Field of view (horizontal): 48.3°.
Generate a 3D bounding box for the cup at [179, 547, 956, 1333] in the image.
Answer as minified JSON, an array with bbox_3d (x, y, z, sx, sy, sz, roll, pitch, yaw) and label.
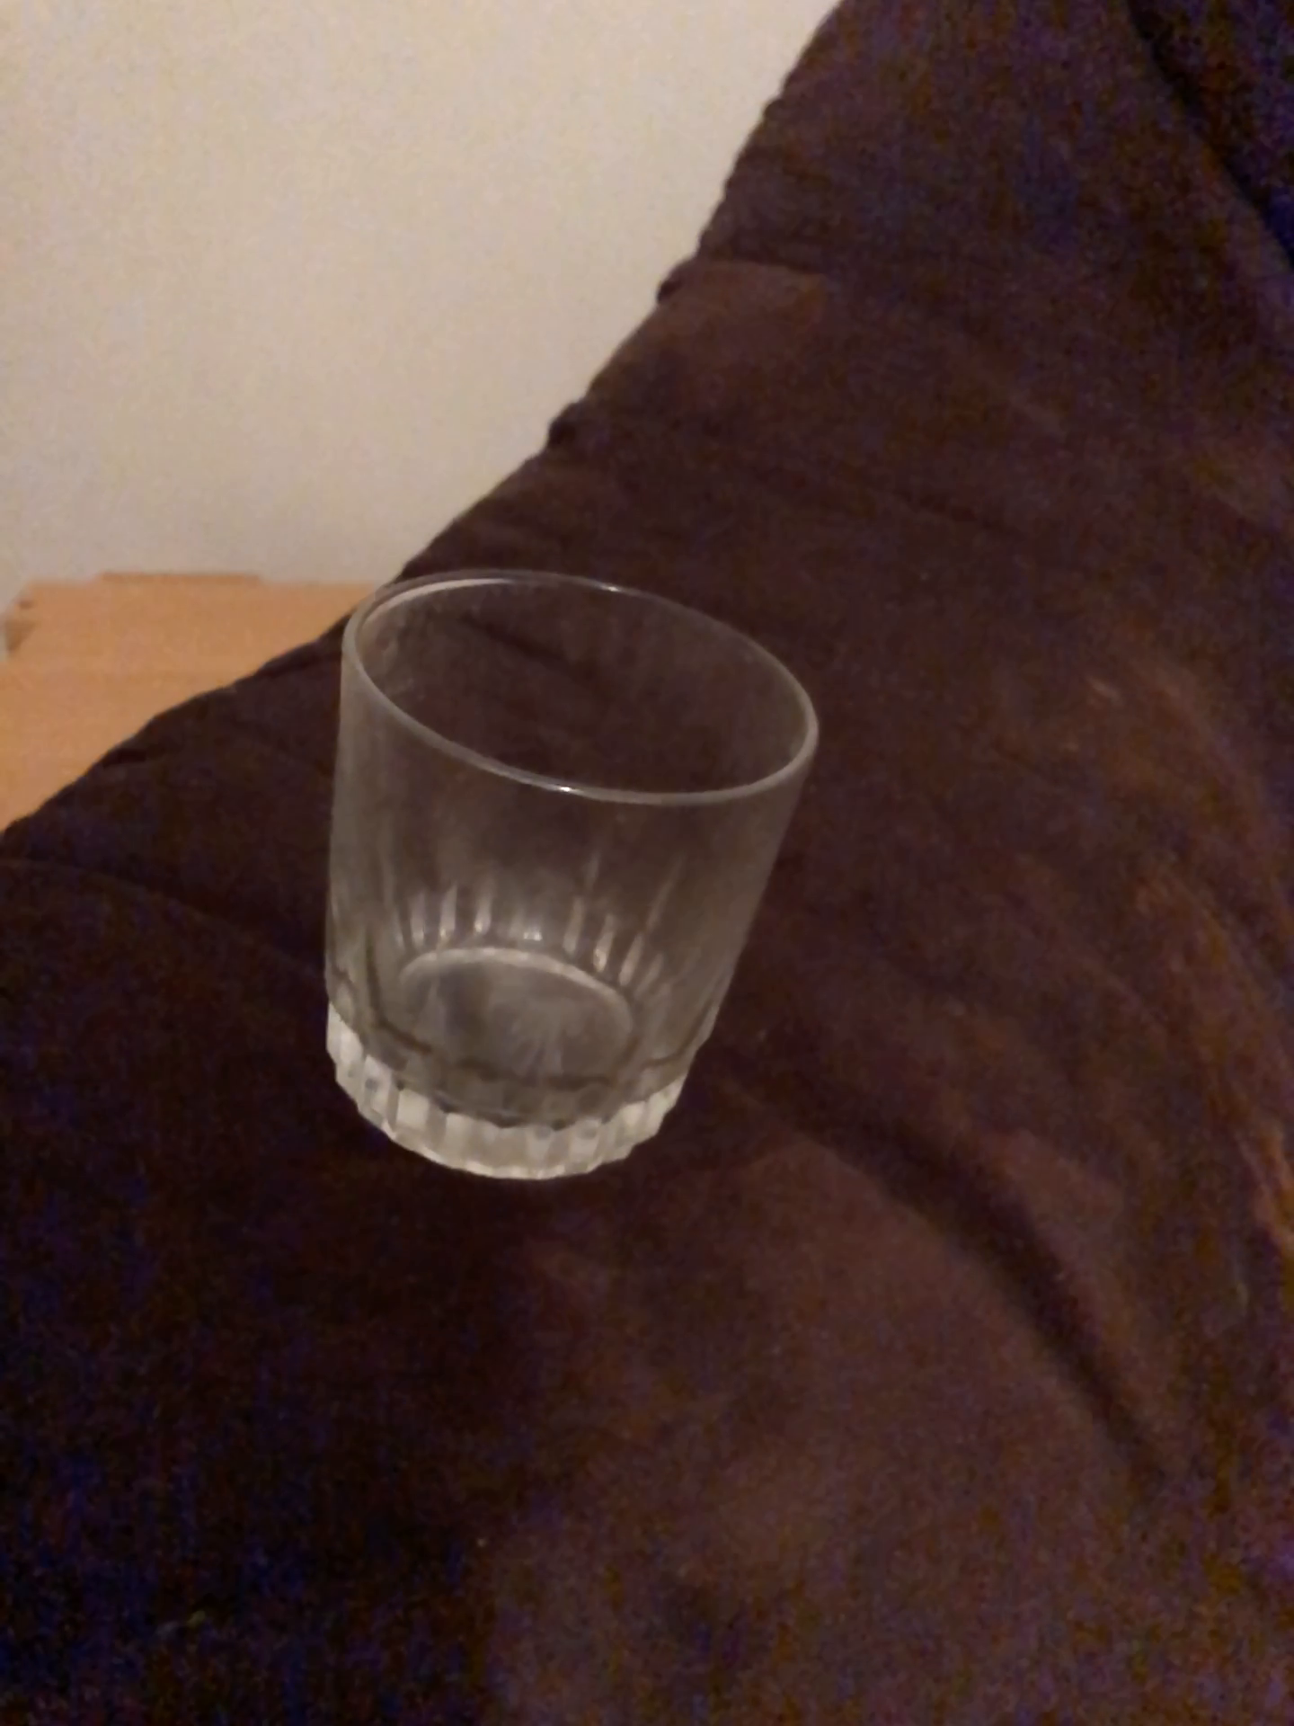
[{"bbox_3d":[-0.018,0.005,0.254,0.087,0.086,0.087,11,29,-6],"label":"cup"}]
